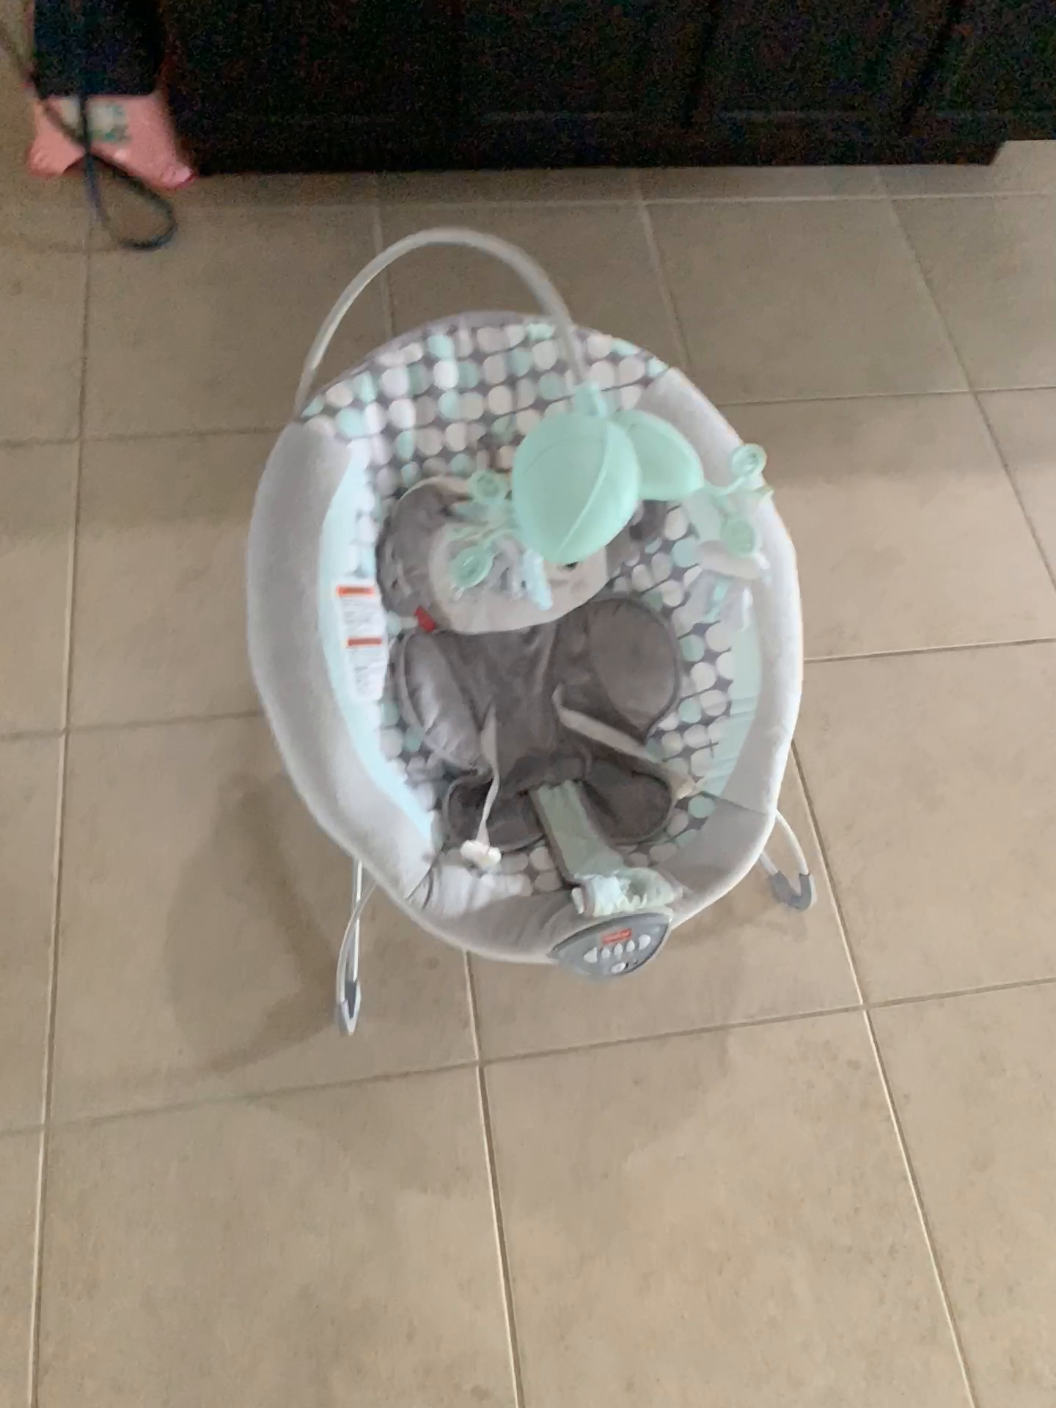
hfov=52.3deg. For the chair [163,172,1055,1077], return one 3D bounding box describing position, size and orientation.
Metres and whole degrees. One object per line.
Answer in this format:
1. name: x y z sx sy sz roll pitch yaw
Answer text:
1. chair: 0.036 -0.040 1.011 0.572 0.580 0.547 -10 64 -11
